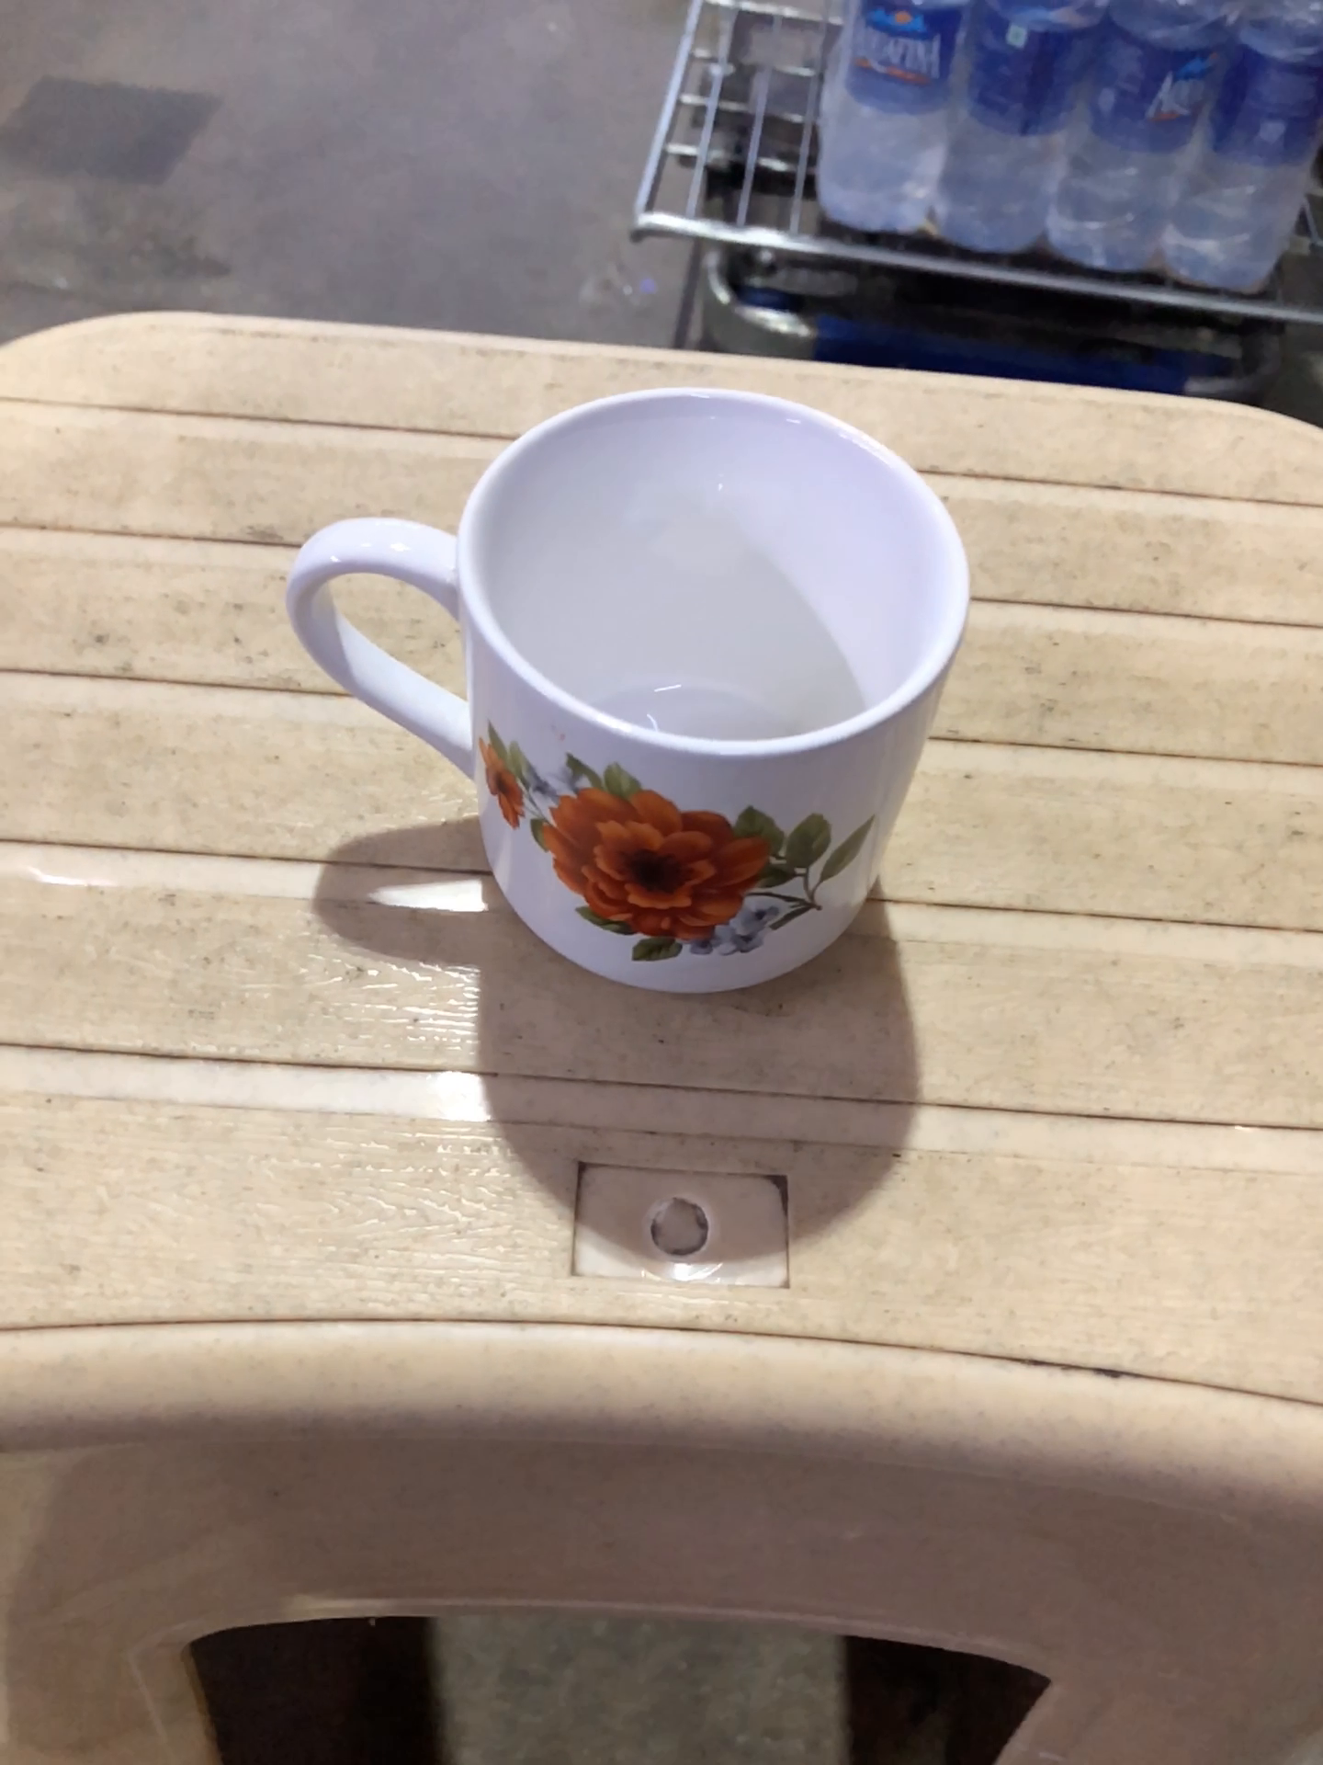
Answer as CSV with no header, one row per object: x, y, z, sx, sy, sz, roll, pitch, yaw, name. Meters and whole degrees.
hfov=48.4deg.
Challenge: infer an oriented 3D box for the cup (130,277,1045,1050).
-0.005,-0.030,0.204,0.100,0.060,0.070,9,54,1,cup
